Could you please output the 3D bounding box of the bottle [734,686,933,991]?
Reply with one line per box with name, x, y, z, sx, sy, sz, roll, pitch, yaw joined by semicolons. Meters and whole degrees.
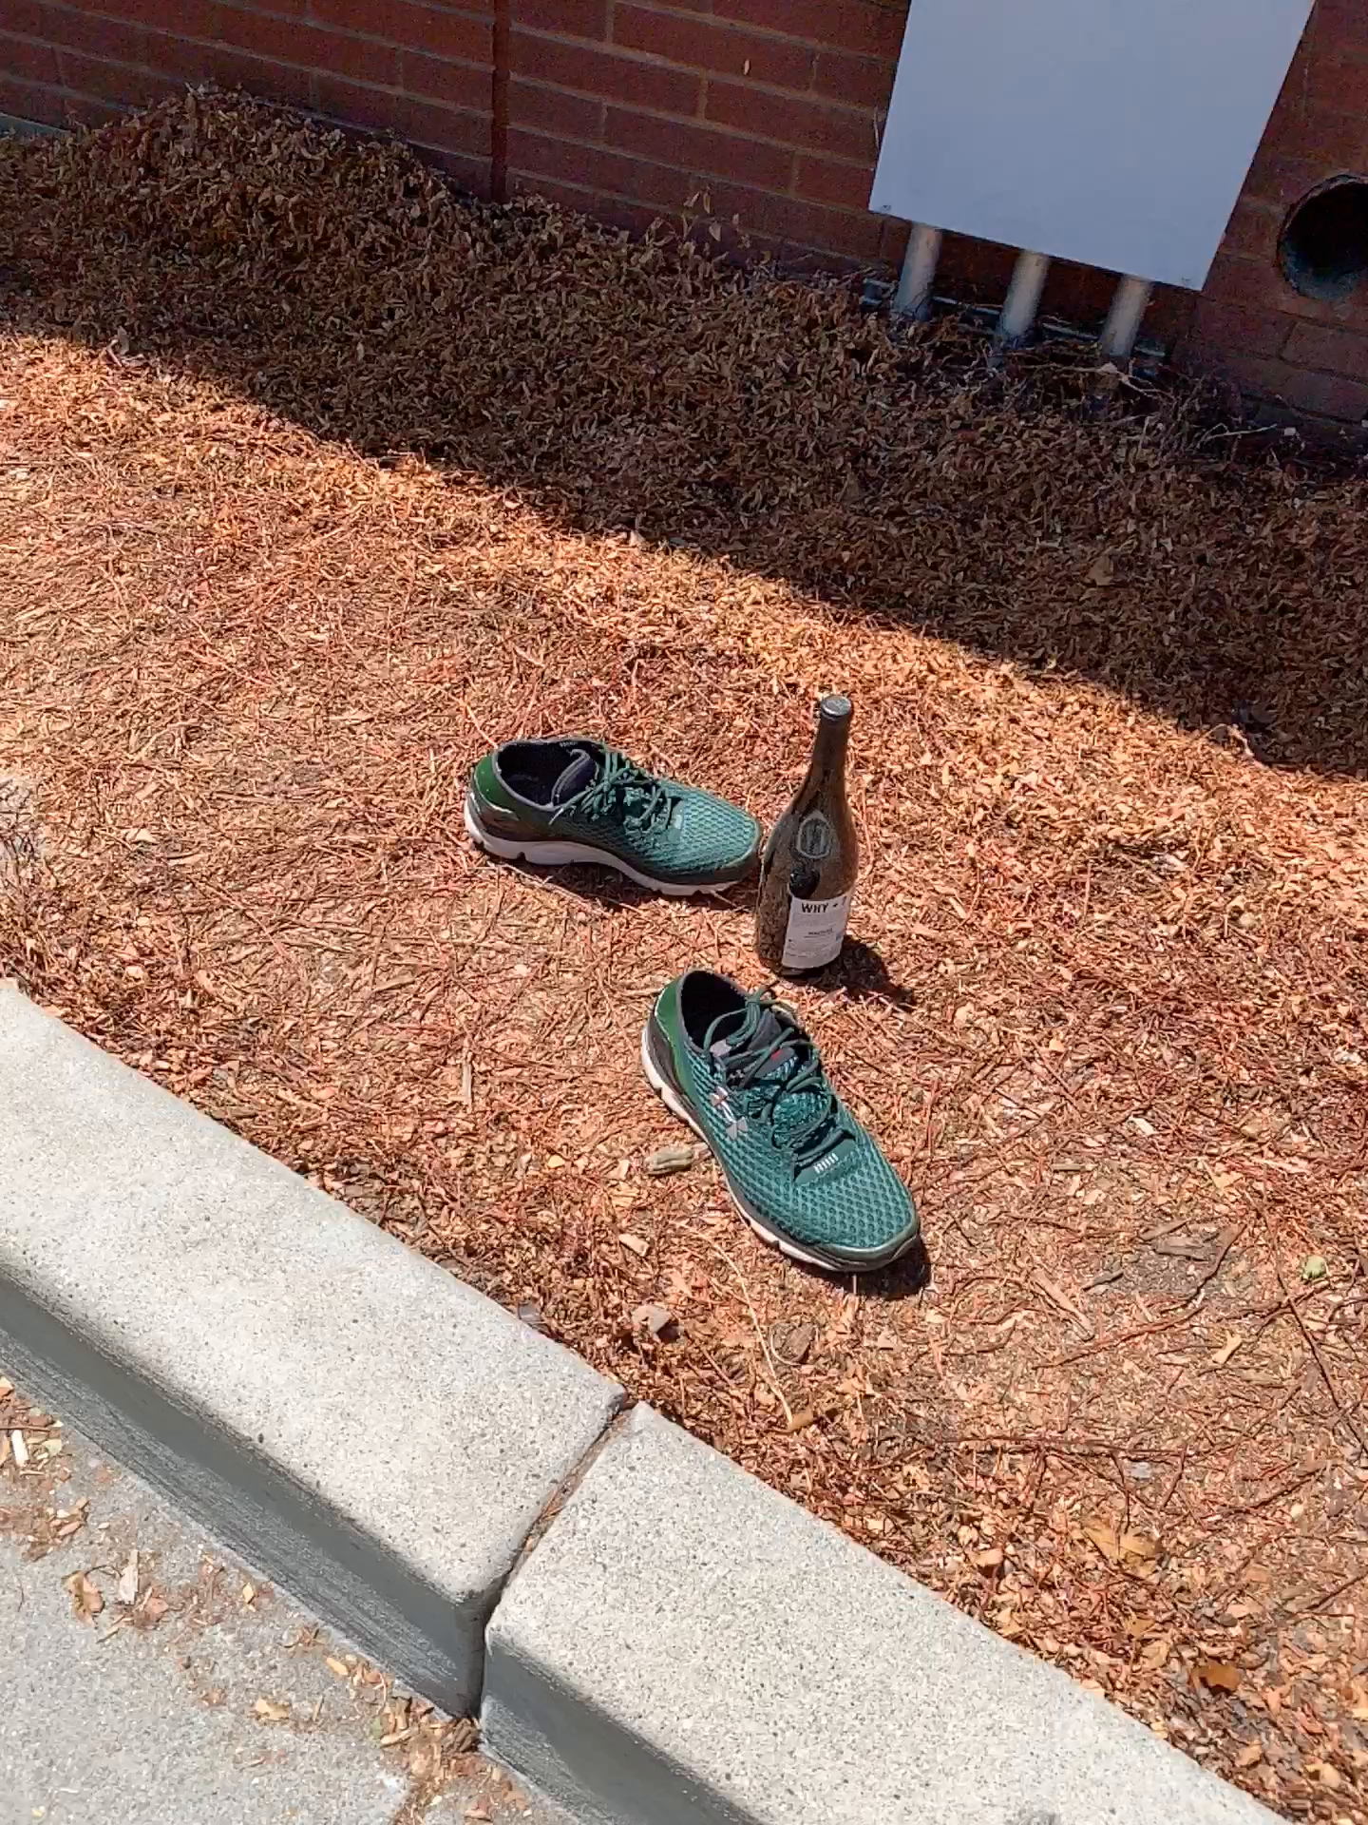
bottle;0.121;-0.057;1.199;0.090;0.259;0.090;5;48;-5
